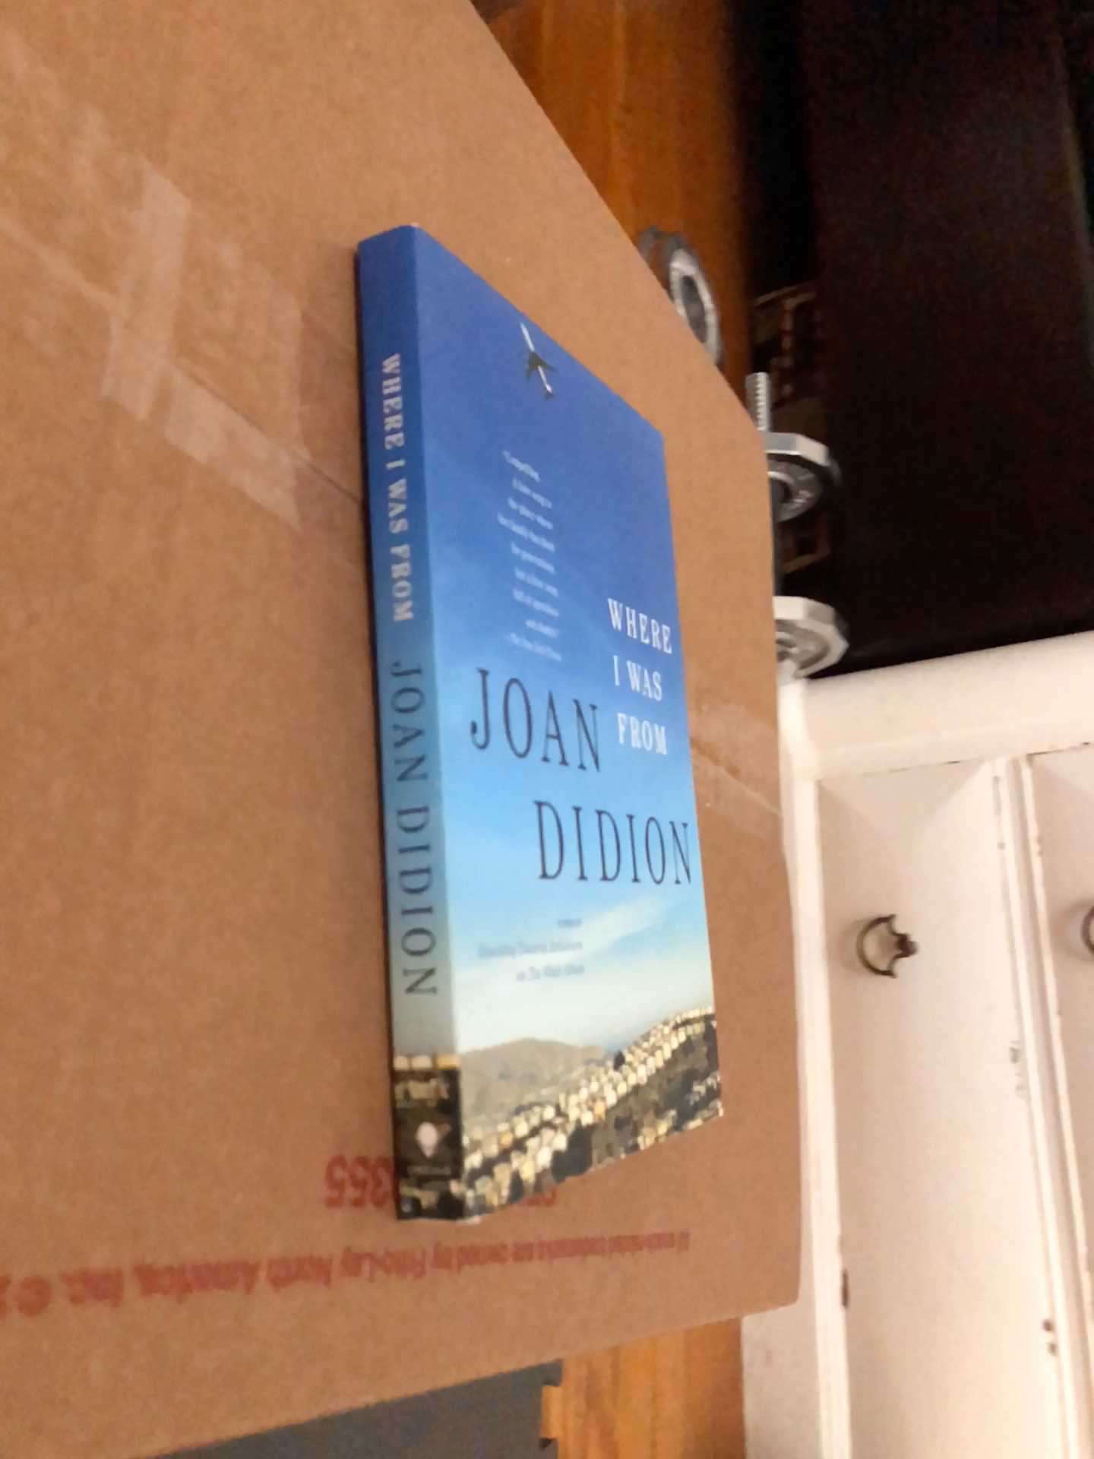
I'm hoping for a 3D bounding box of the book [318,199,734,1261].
[{"bbox_3d":[0.001,0.002,0.299,0.141,0.020,0.210,15,68,-60],"label":"book"}]
